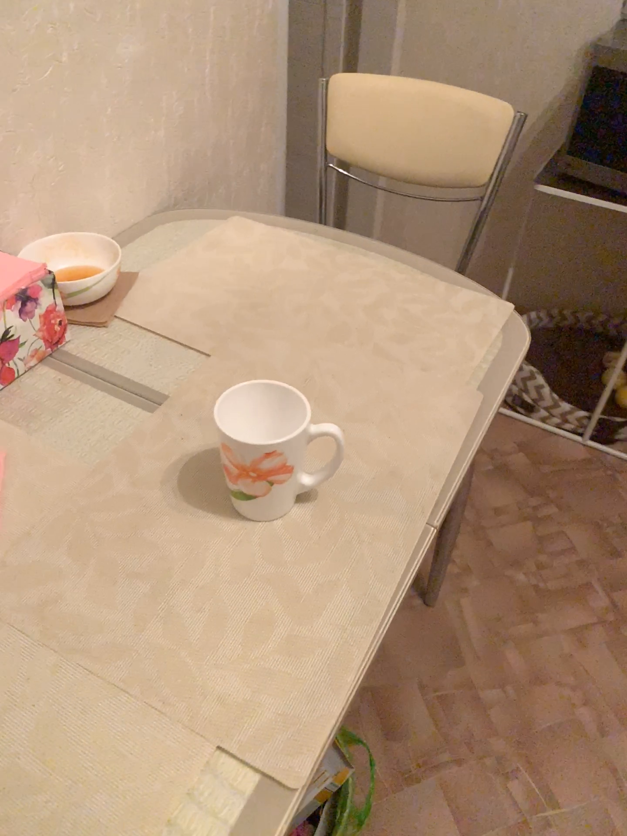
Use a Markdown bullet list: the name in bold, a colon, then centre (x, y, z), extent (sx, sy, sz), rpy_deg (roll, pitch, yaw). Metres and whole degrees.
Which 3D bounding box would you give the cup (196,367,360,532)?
- **cup**: centre (-0.028, 0.028, 0.536), extent (0.120, 0.109, 0.081), rpy_deg (2, 43, -1)
